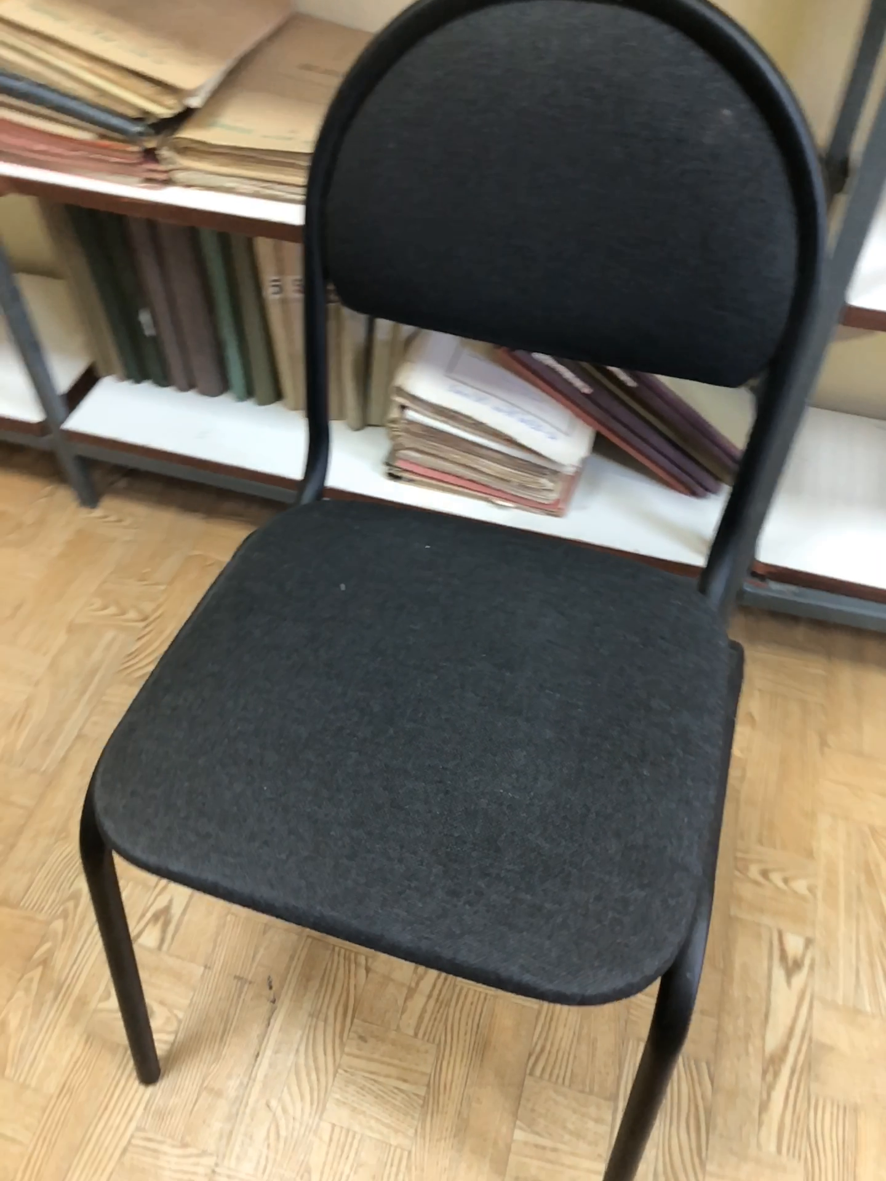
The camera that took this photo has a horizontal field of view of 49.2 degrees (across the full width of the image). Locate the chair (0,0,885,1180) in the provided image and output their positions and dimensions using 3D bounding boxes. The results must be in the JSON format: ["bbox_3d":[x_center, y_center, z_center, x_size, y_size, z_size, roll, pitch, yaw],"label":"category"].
[{"bbox_3d":[0.000,0.070,0.757,0.472,0.836,0.563,14,52,11],"label":"chair"}]
